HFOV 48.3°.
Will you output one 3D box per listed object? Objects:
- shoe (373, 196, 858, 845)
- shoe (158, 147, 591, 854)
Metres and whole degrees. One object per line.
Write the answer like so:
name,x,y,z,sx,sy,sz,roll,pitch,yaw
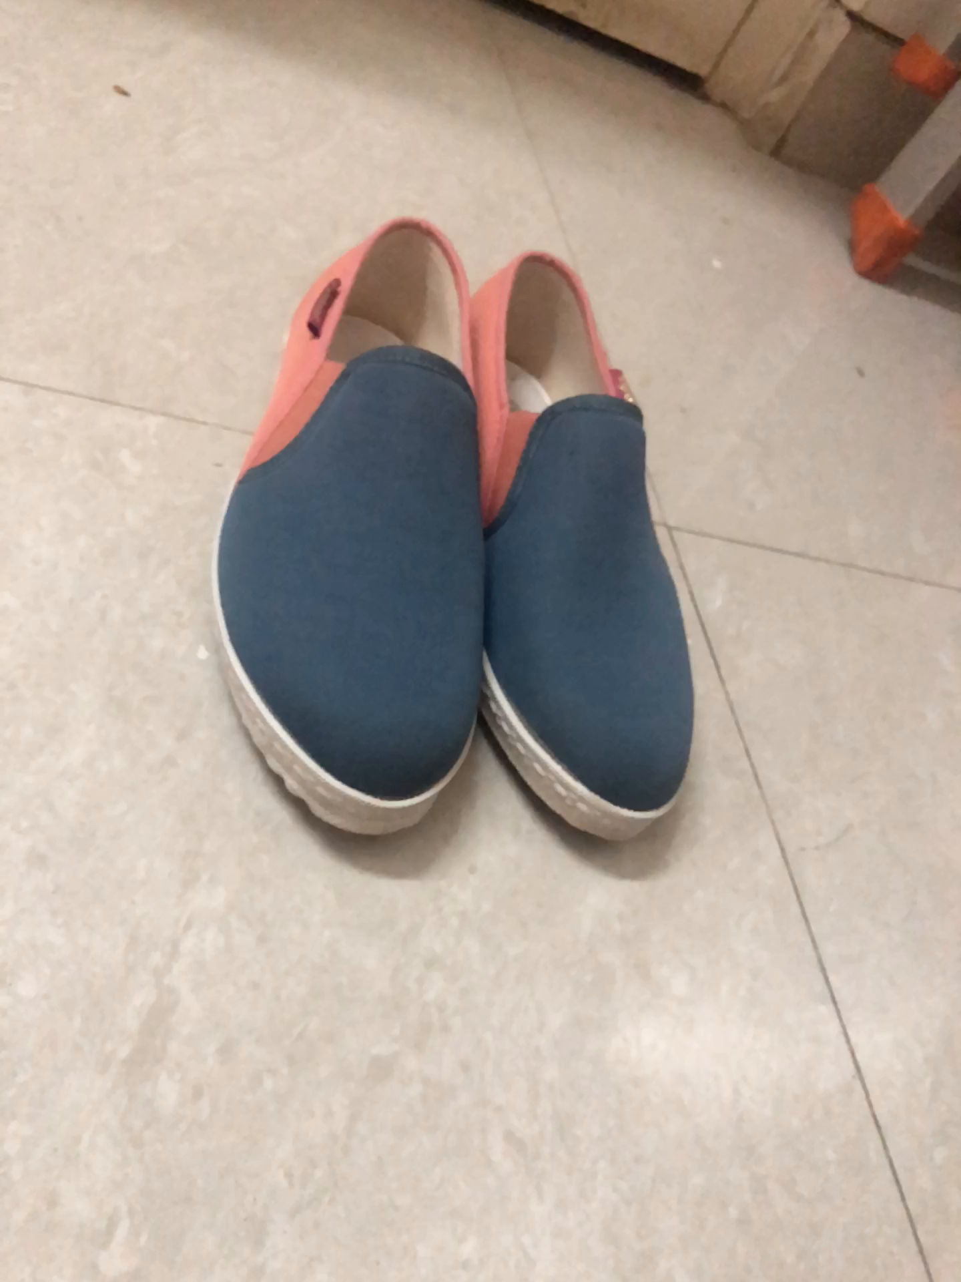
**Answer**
shoe,0.031,-0.047,0.358,0.090,0.060,0.221,7,50,-27
shoe,-0.036,-0.053,0.330,0.090,0.060,0.221,13,48,-23
